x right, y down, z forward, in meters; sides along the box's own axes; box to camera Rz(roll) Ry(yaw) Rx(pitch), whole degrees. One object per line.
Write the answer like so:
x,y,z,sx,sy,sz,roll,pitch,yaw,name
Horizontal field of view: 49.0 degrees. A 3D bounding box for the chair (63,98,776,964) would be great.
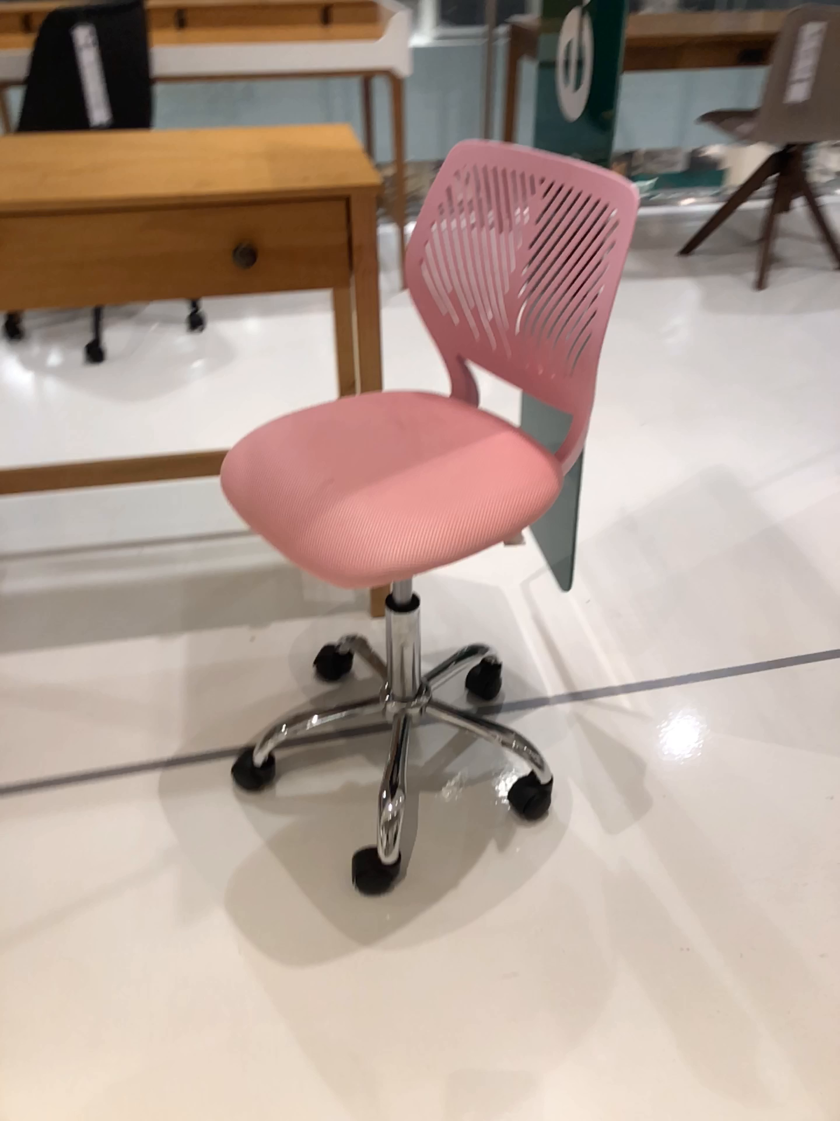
0.003,-0.065,1.171,0.502,0.833,0.522,30,45,35,chair
